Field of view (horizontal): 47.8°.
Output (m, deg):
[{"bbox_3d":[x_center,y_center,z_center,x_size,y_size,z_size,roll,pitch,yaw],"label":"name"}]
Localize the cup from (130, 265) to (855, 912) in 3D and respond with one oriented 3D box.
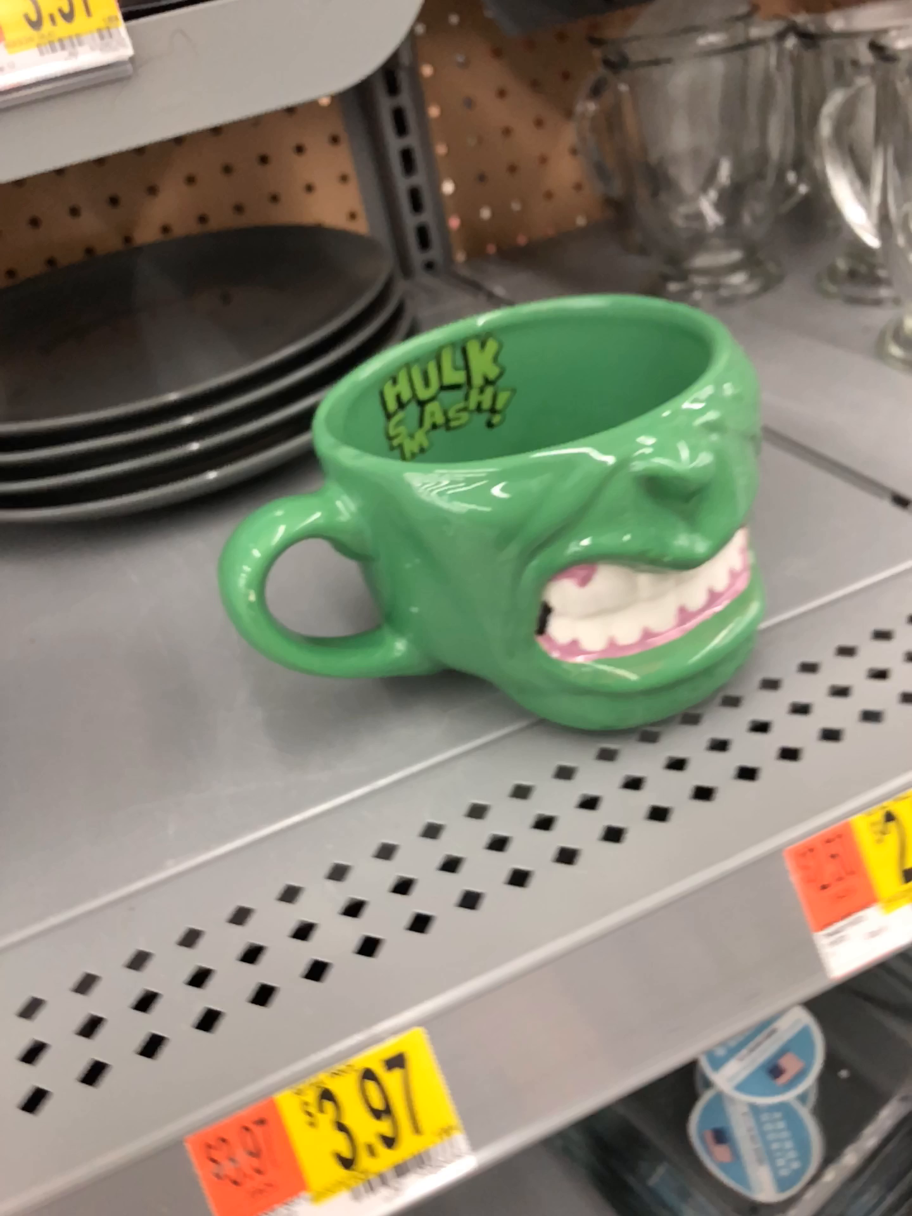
[{"bbox_3d":[0.008,-0.018,0.282,0.148,0.089,0.116,-23,34,-15],"label":"cup"}]
